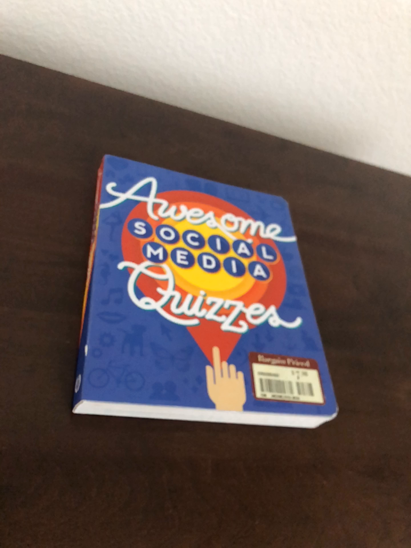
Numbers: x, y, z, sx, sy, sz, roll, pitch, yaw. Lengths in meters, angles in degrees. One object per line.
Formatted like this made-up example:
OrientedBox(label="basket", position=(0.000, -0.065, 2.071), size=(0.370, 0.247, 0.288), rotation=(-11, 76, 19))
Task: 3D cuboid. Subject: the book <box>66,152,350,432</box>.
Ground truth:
OrientedBox(label="book", position=(0.001, 0.005, 0.333), size=(0.172, 0.020, 0.201), rotation=(10, 51, -19))
